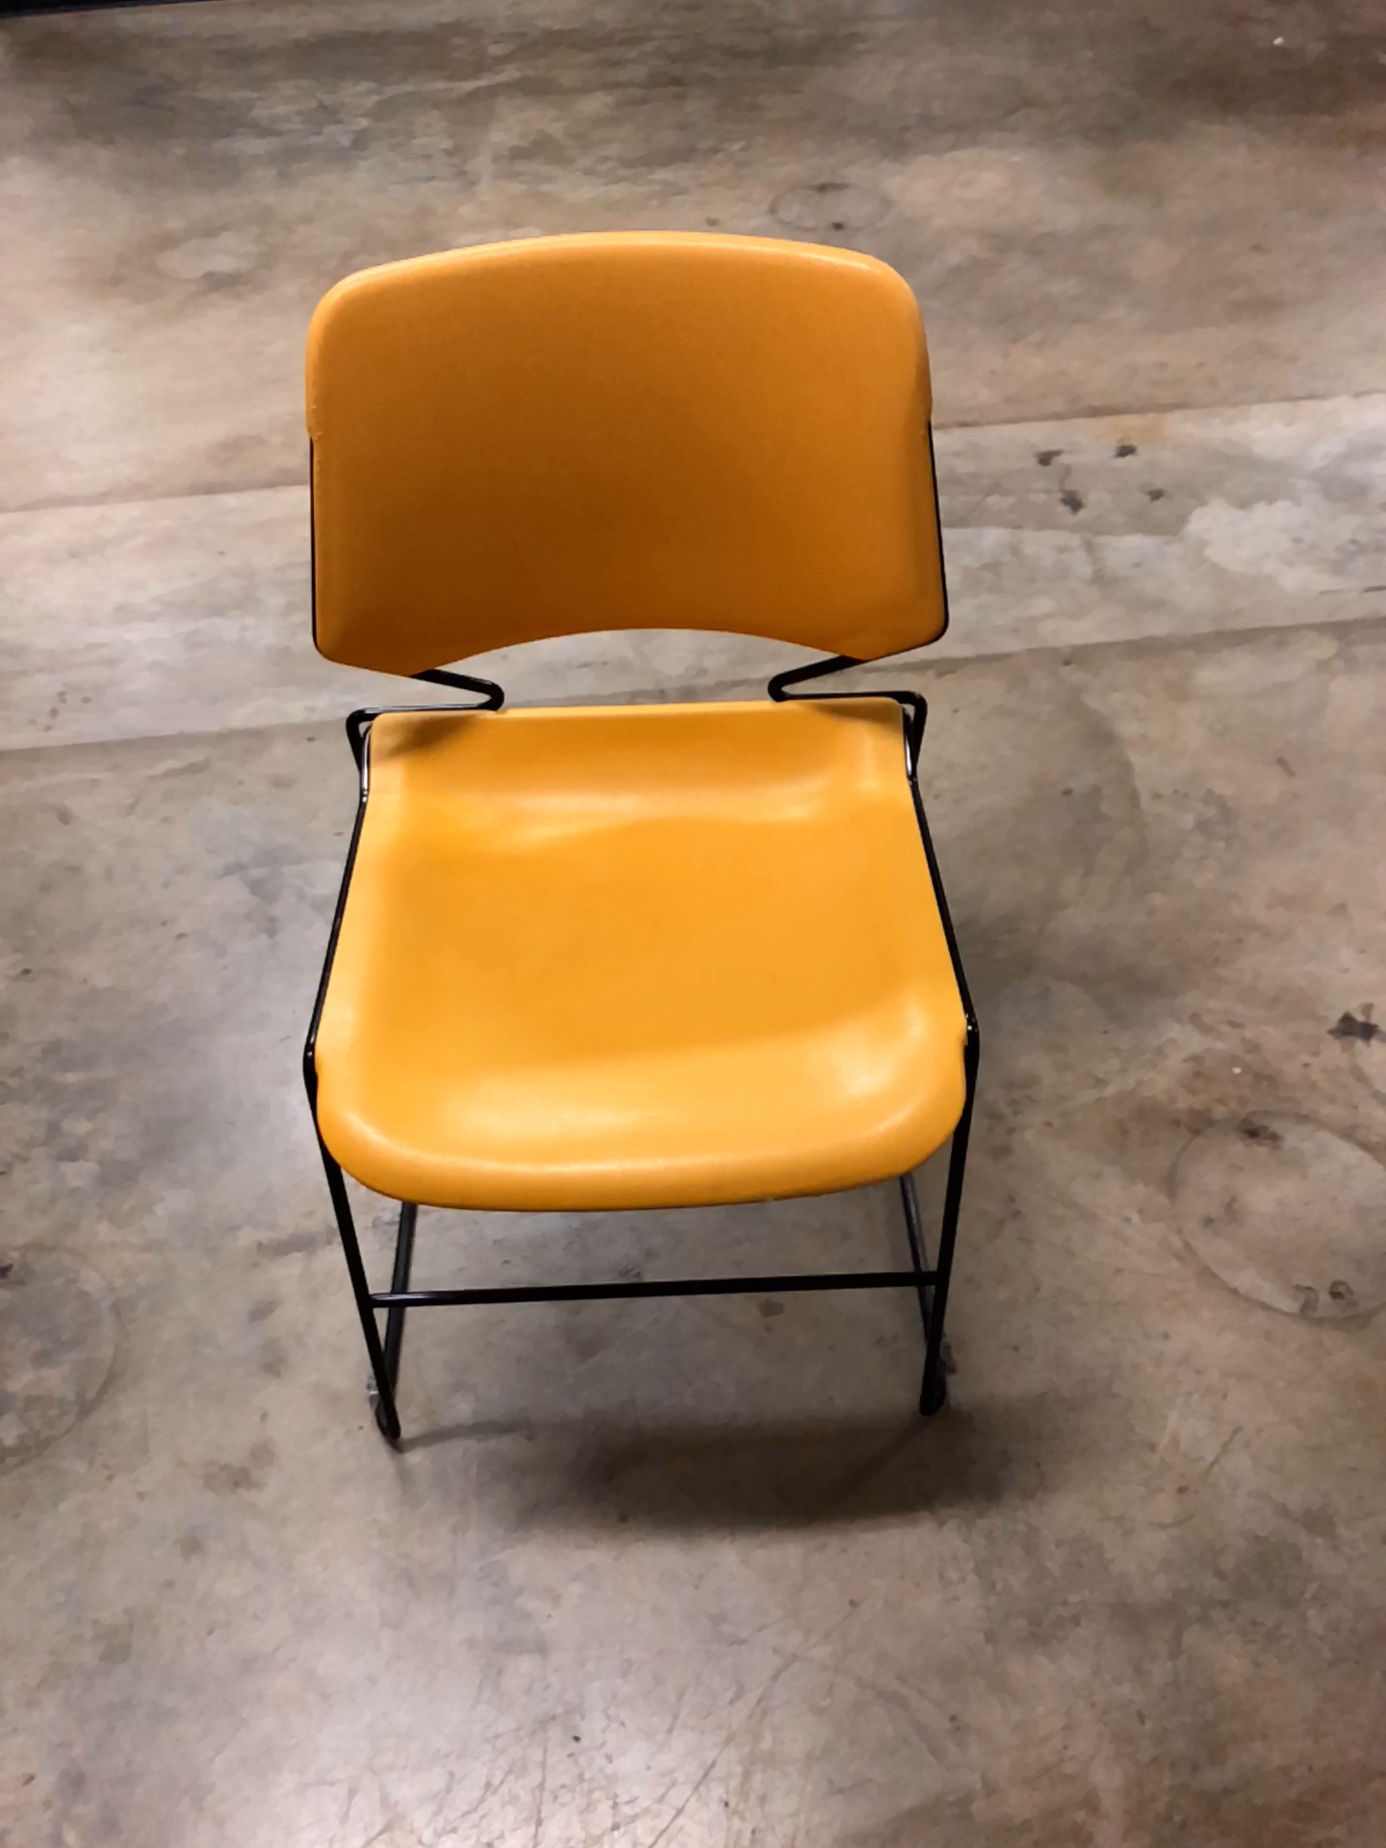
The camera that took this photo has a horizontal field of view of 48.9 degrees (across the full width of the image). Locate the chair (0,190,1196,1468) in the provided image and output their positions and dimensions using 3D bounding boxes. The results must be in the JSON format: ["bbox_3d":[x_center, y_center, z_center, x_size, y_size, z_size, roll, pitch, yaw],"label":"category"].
[{"bbox_3d":[-0.056,-0.049,1.172,0.577,0.736,0.618,-2,47,0],"label":"chair"}]
